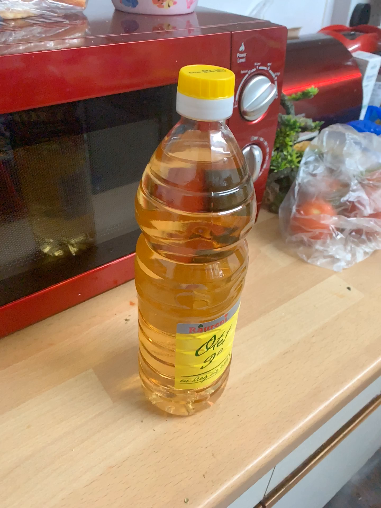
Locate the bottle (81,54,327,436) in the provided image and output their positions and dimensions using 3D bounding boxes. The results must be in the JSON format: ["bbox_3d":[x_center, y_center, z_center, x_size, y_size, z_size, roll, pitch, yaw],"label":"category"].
[{"bbox_3d":[0.000,0.005,0.260,0.090,0.228,0.081,-19,42,-26],"label":"bottle"}]
